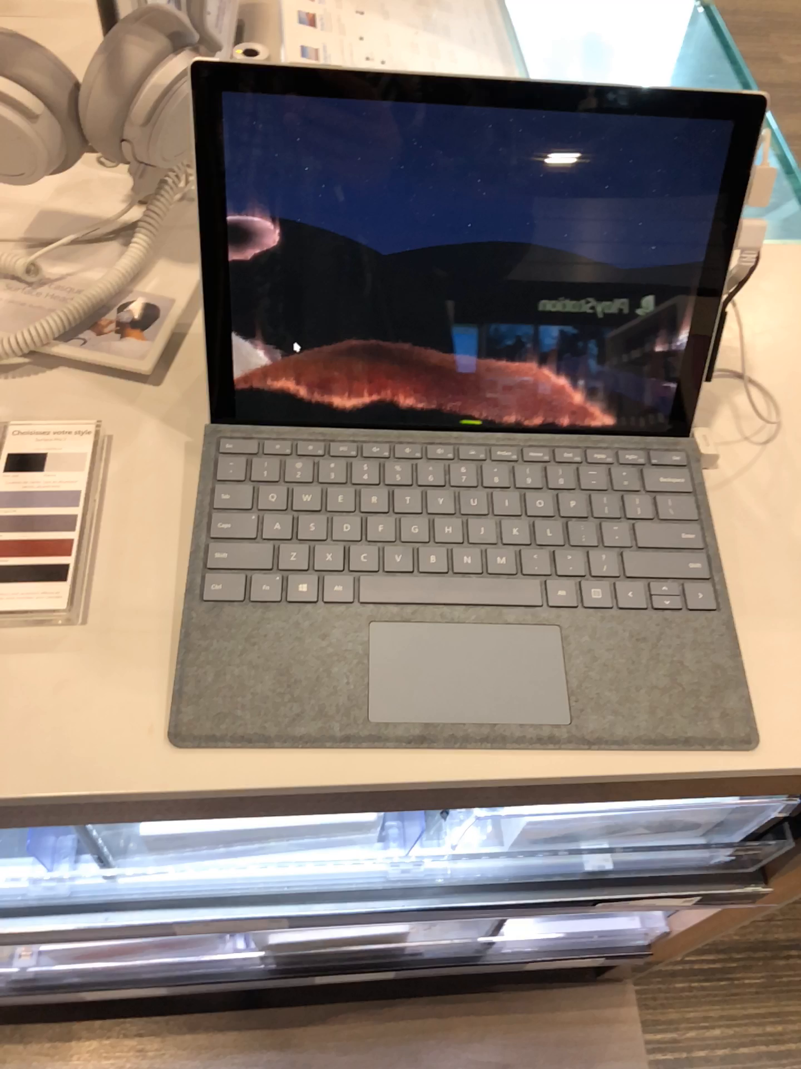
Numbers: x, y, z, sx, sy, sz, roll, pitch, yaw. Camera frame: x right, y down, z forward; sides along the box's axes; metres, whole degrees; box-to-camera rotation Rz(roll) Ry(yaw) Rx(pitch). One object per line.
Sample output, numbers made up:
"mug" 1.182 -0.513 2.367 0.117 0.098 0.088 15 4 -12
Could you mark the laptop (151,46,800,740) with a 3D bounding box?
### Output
"laptop" 0.050 -0.070 0.422 0.261 0.143 0.284 2 61 0
